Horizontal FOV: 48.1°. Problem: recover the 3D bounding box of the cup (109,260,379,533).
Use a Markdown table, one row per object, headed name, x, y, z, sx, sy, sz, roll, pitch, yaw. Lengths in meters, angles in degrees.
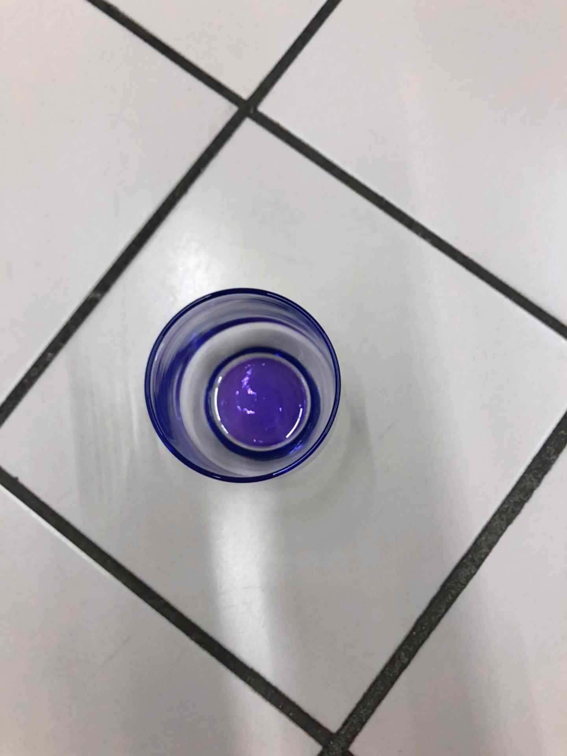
| name | x | y | z | sx | sy | sz | roll | pitch | yaw |
| --- | --- | --- | --- | --- | --- | --- | --- | --- | --- |
| cup | -0.013 | 0.009 | 0.239 | 0.069 | 0.064 | 0.070 | 0 | 83 | 2 |
